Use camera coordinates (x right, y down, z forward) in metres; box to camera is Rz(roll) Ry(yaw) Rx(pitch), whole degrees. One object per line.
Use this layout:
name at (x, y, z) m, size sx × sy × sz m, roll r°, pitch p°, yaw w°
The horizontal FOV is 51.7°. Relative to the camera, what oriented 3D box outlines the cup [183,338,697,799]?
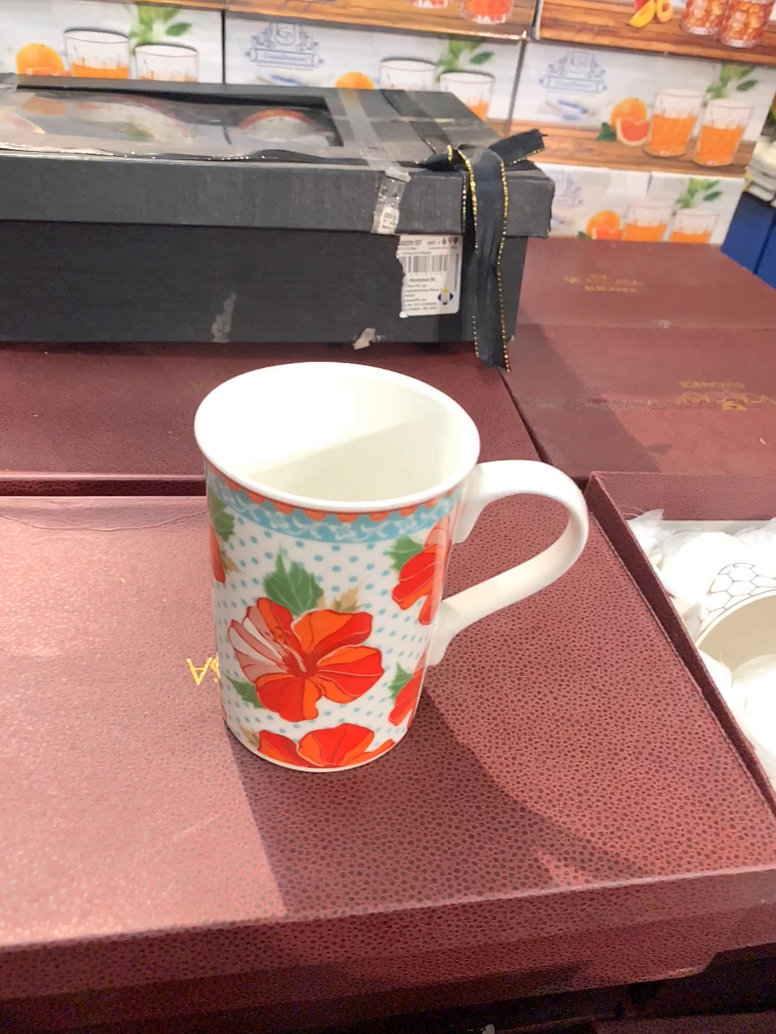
cup at (0.004, 0.016, 0.246) m, size 0.120 × 0.110 × 0.080 m, roll 0°, pitch 37°, yaw -10°
